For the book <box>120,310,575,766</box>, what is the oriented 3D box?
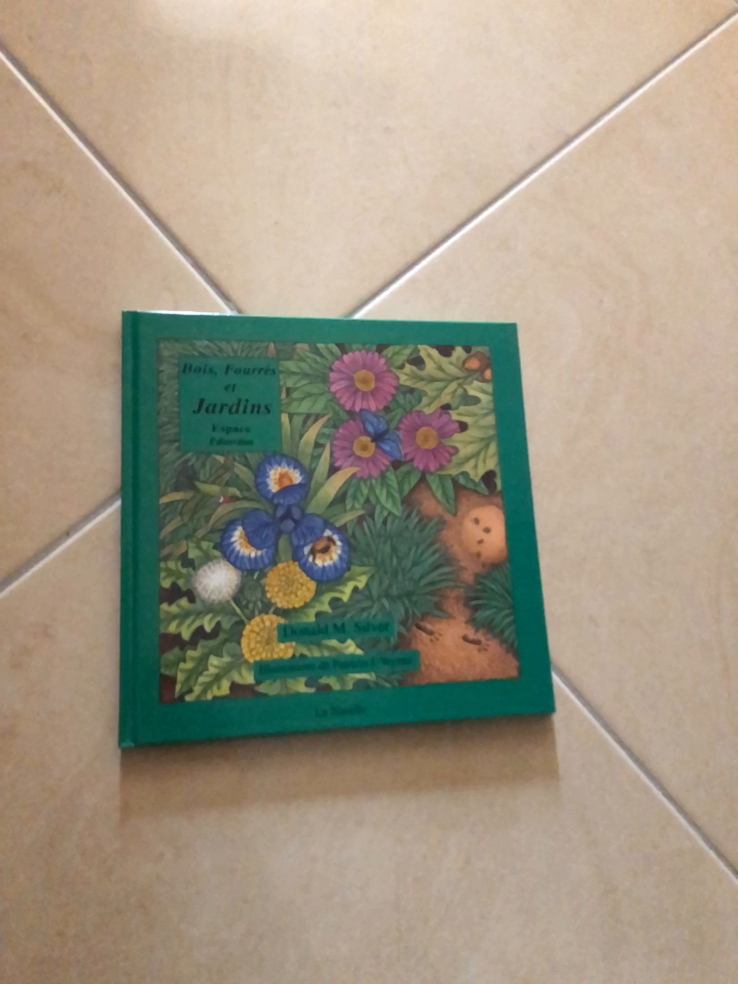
[{"bbox_3d":[-0.014,0.018,0.457,0.240,0.030,0.240,-1,78,-12],"label":"book"}]
